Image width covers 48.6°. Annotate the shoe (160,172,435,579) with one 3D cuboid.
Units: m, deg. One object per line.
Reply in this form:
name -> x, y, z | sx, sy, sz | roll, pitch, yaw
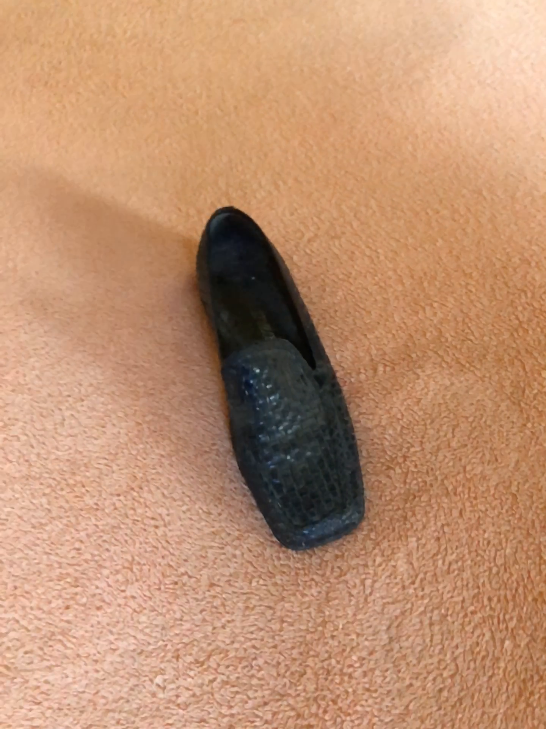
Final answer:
shoe -> 0.003, -0.007, 0.432 | 0.100, 0.090, 0.271 | -16, 56, -7
